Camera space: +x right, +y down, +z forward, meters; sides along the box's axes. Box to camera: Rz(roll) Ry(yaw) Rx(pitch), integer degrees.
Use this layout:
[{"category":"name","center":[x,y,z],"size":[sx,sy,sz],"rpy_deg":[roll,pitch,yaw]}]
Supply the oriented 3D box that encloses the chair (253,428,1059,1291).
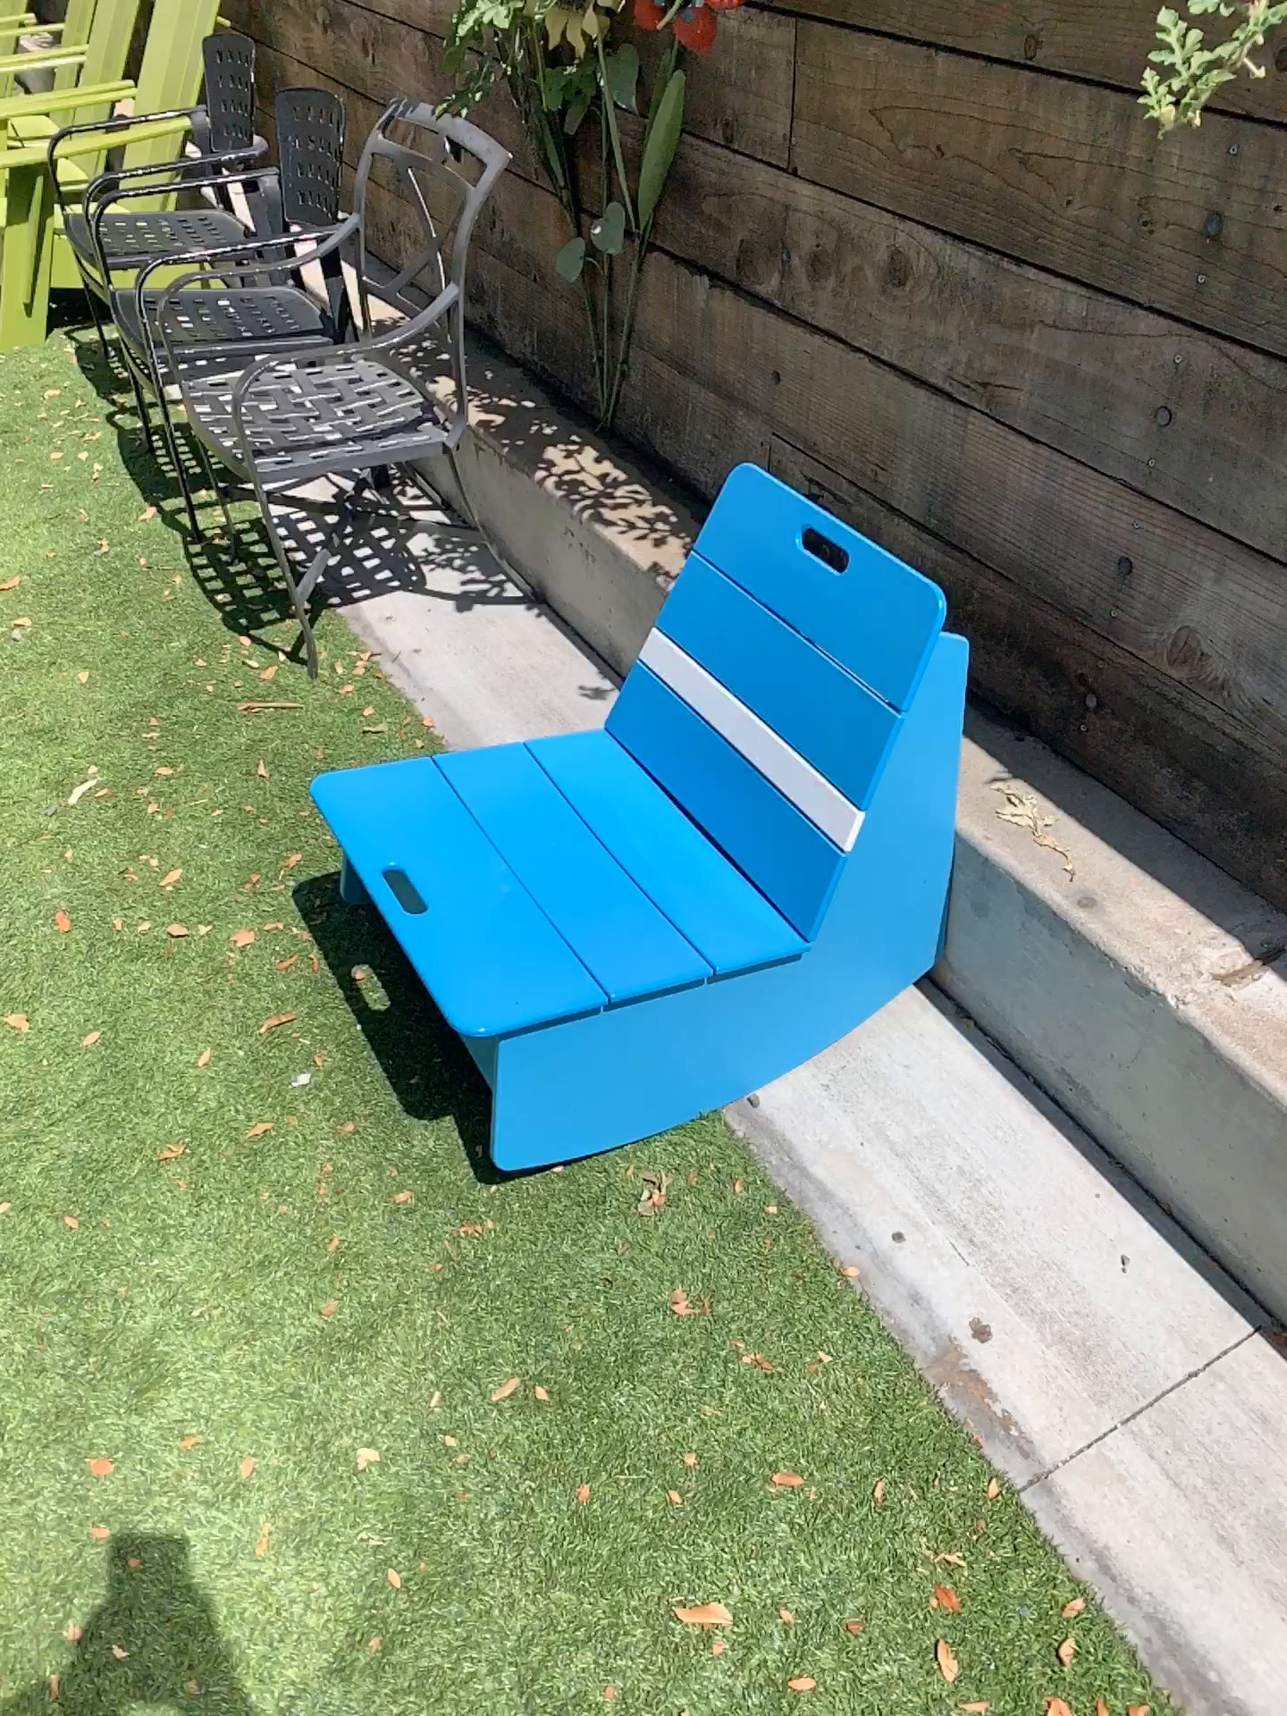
[{"category":"chair","center":[-0.001,-0.022,1.725],"size":[0.720,0.745,0.594],"rpy_deg":[-19,44,-18]}]
